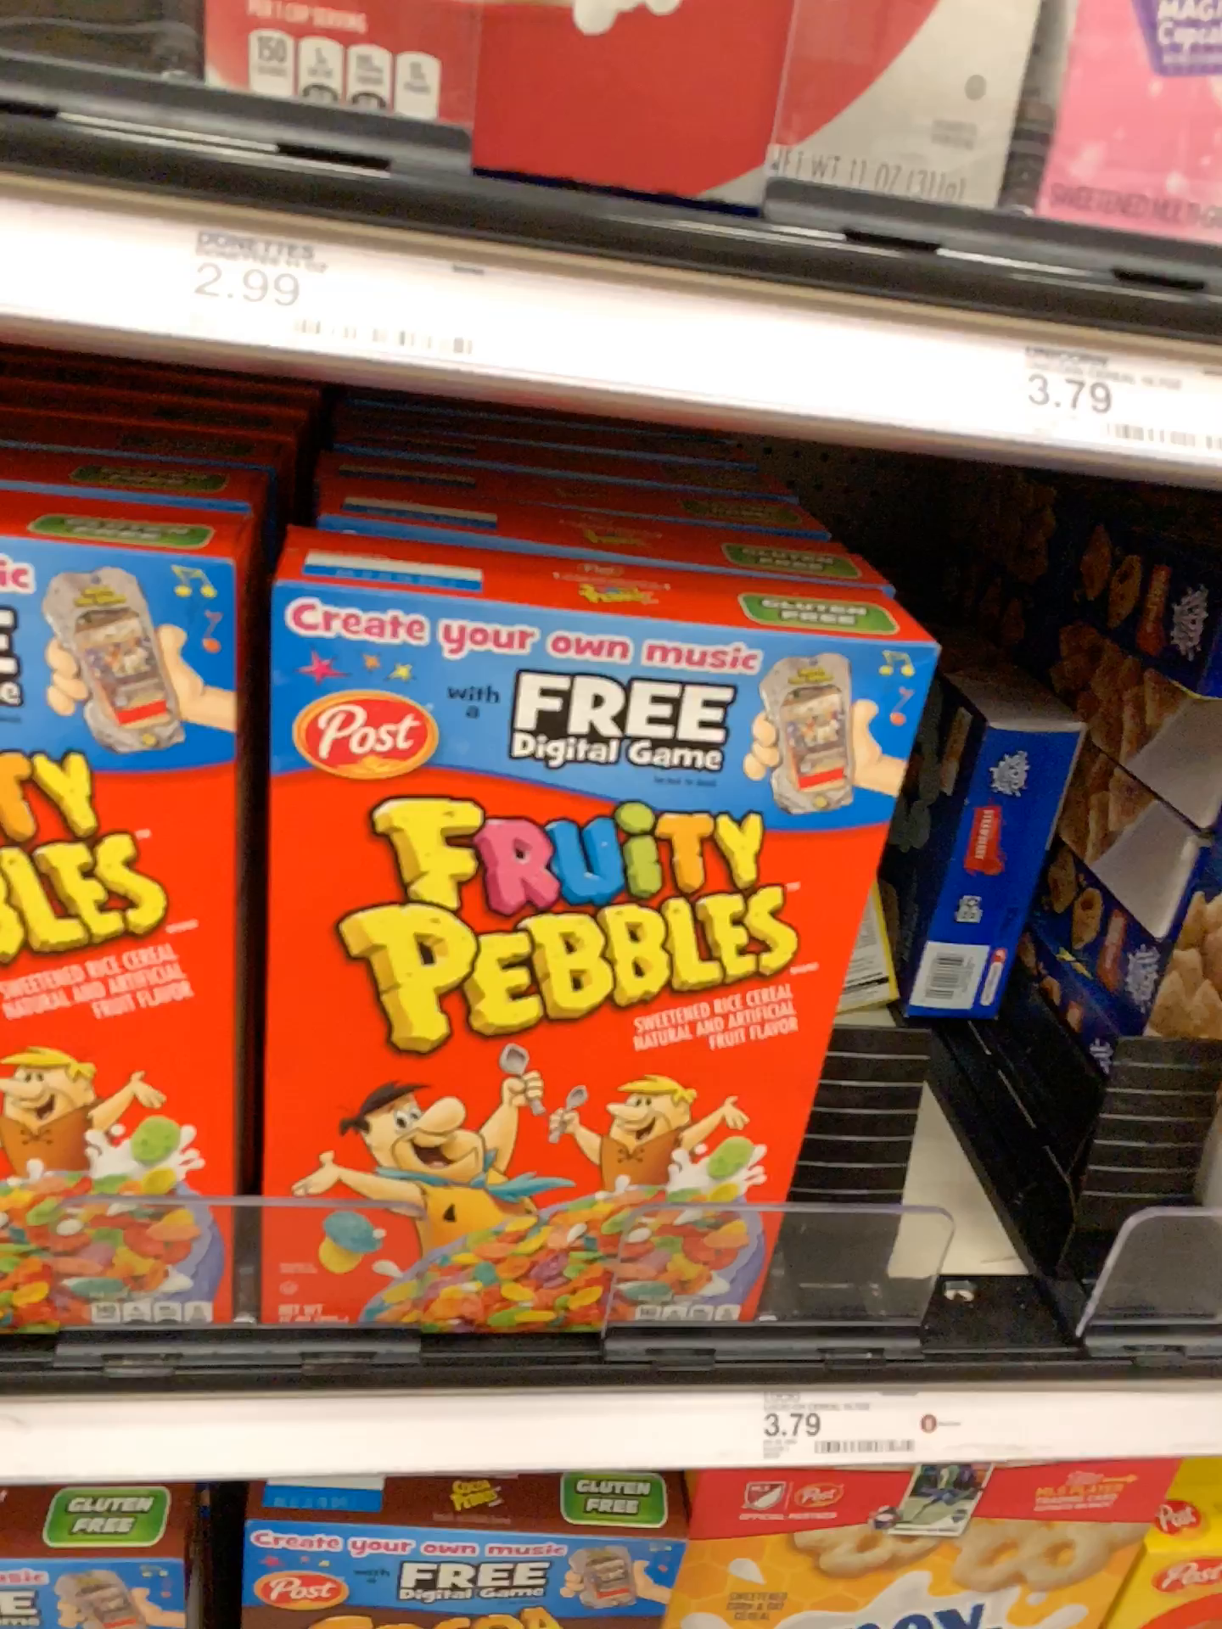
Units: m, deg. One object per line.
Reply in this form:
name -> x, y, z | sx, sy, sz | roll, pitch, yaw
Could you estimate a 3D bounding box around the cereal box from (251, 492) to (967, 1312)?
cereal box -> -0.019, 0.049, 0.437 | 0.200, 0.289, 0.060 | 4, 28, -9
